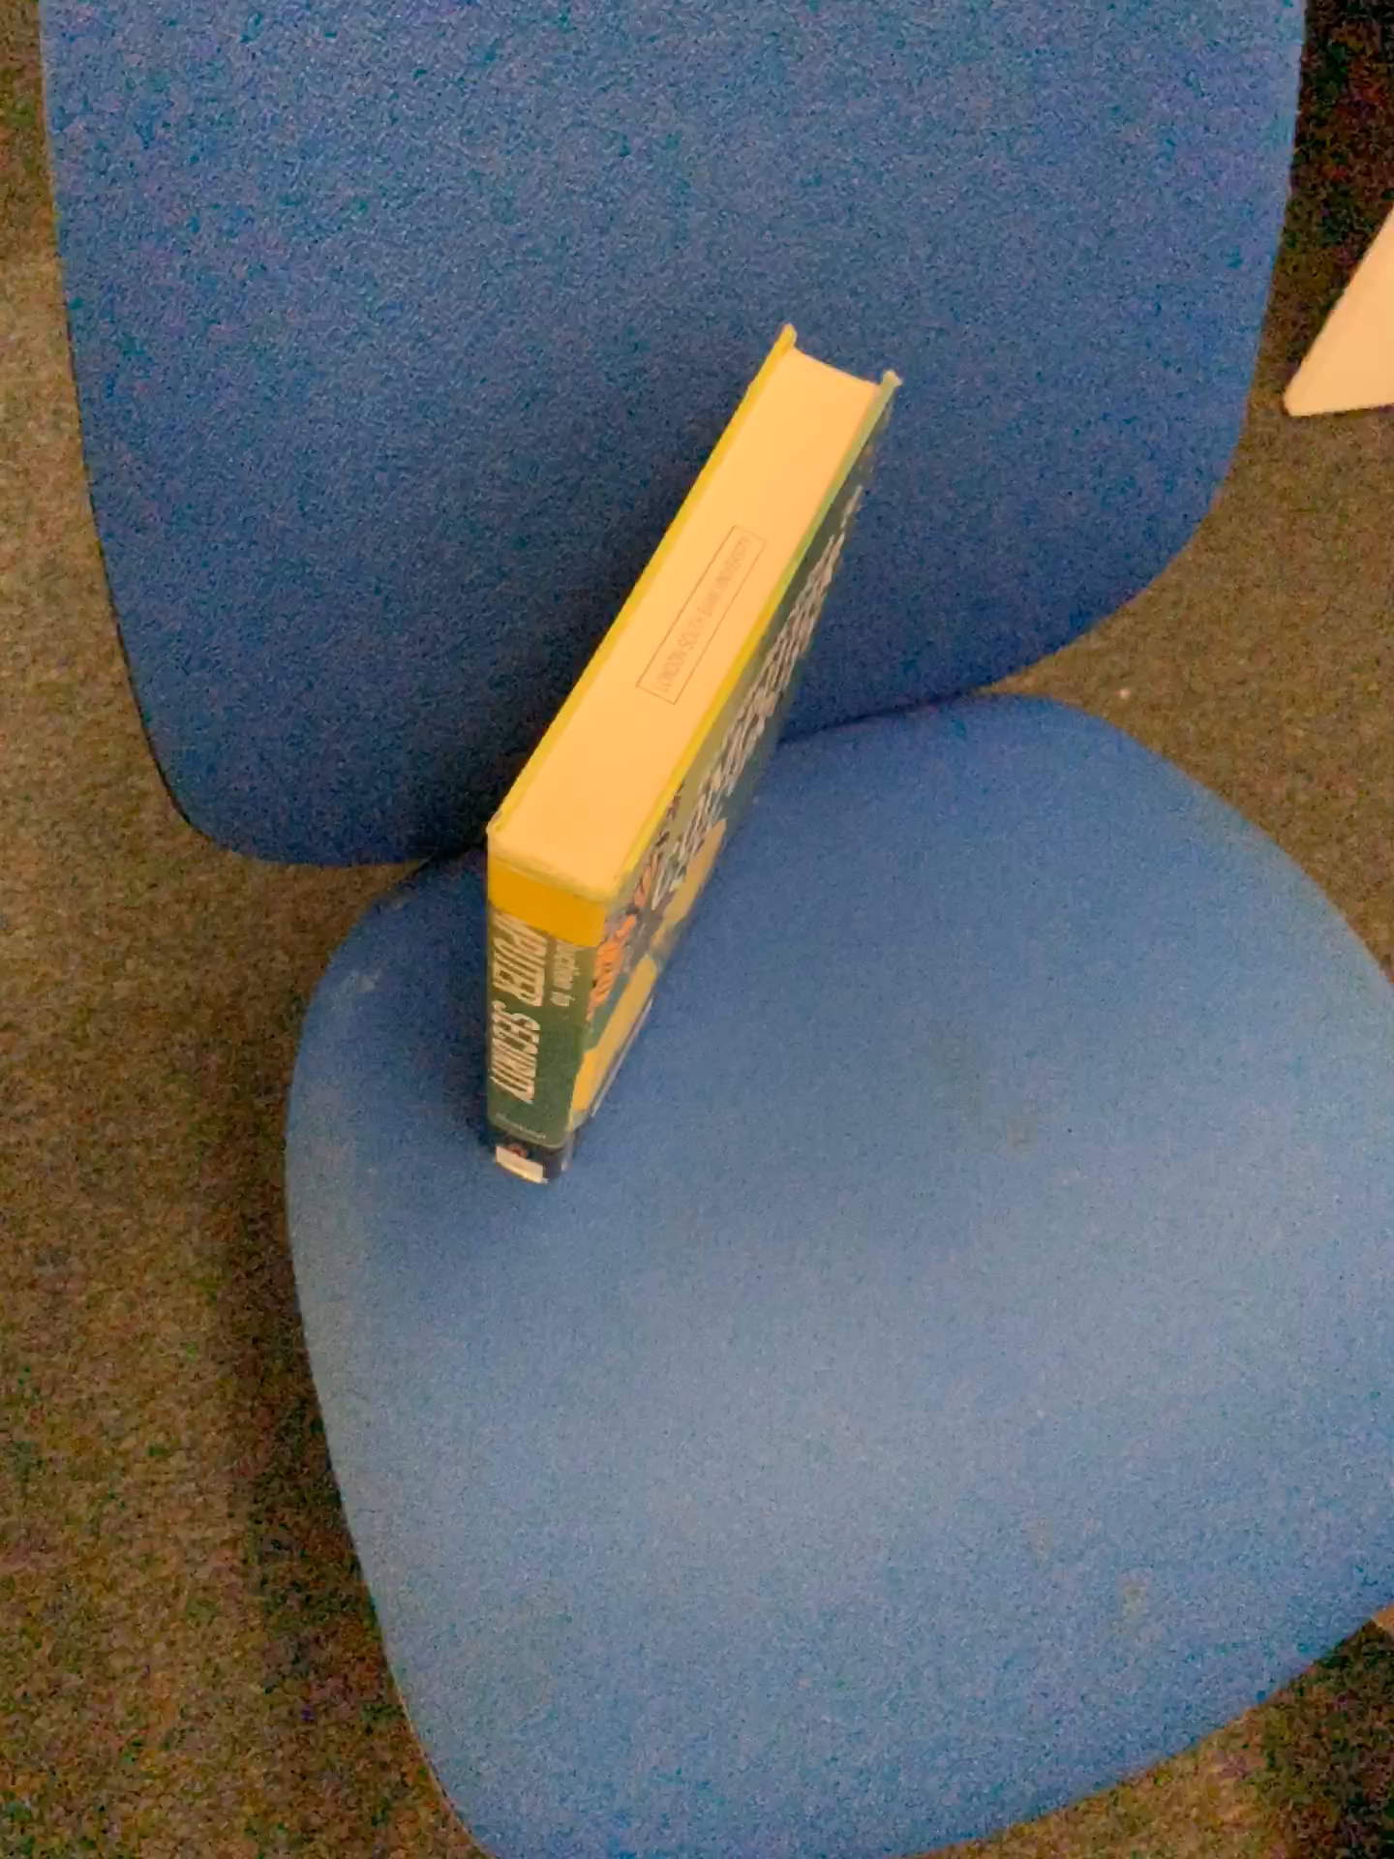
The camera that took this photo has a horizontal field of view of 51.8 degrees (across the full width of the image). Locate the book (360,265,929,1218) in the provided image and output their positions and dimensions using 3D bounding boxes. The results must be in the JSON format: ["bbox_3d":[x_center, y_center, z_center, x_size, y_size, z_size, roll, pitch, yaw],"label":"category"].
[{"bbox_3d":[-0.023,-0.034,0.478,0.050,0.279,0.211,27,67,3],"label":"book"}]
